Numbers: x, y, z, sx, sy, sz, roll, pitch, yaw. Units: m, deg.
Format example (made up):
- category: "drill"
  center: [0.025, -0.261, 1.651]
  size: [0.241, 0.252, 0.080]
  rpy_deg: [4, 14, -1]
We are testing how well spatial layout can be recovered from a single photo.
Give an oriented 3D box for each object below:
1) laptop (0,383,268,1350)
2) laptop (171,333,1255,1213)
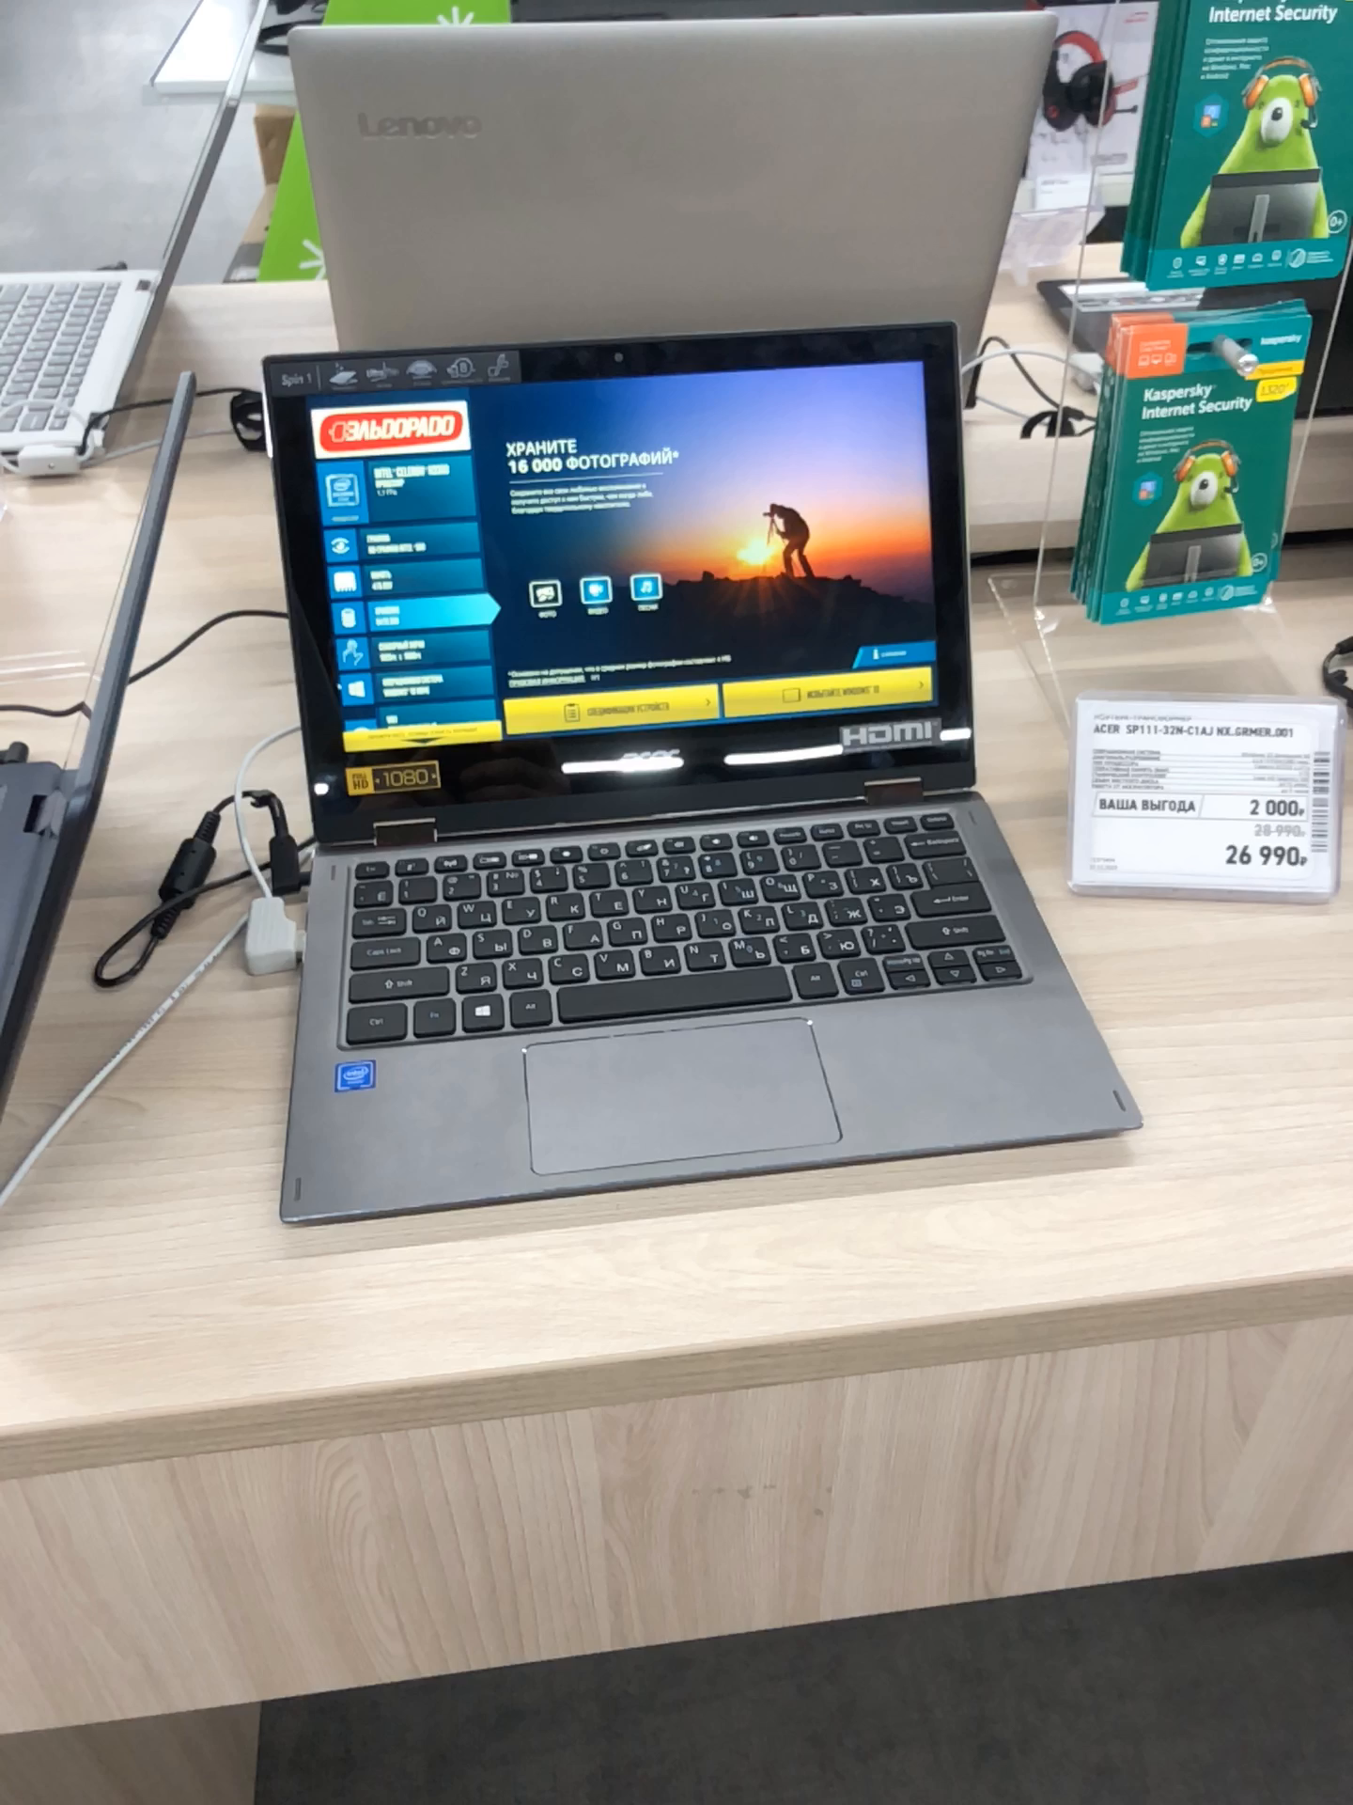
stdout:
- category: "laptop"
  center: [-0.310, -0.033, 0.509]
  size: [0.287, 0.174, 0.276]
  rpy_deg: [-5, 40, -6]
- category: "laptop"
  center: [-0.005, -0.072, 0.561]
  size: [0.287, 0.168, 0.304]
  rpy_deg: [-5, 40, -6]
